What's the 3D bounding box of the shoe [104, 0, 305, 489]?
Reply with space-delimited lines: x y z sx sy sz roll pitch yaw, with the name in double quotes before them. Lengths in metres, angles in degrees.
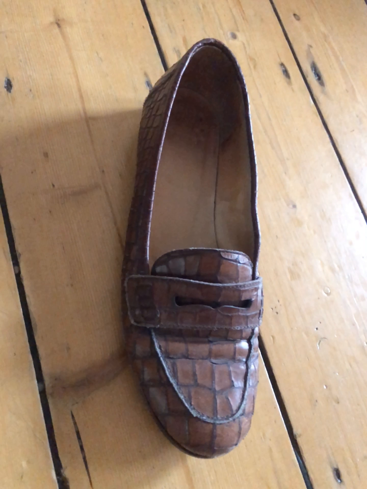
"shoe" -0.006 -0.032 0.277 0.080 0.100 0.321 2 70 -18
